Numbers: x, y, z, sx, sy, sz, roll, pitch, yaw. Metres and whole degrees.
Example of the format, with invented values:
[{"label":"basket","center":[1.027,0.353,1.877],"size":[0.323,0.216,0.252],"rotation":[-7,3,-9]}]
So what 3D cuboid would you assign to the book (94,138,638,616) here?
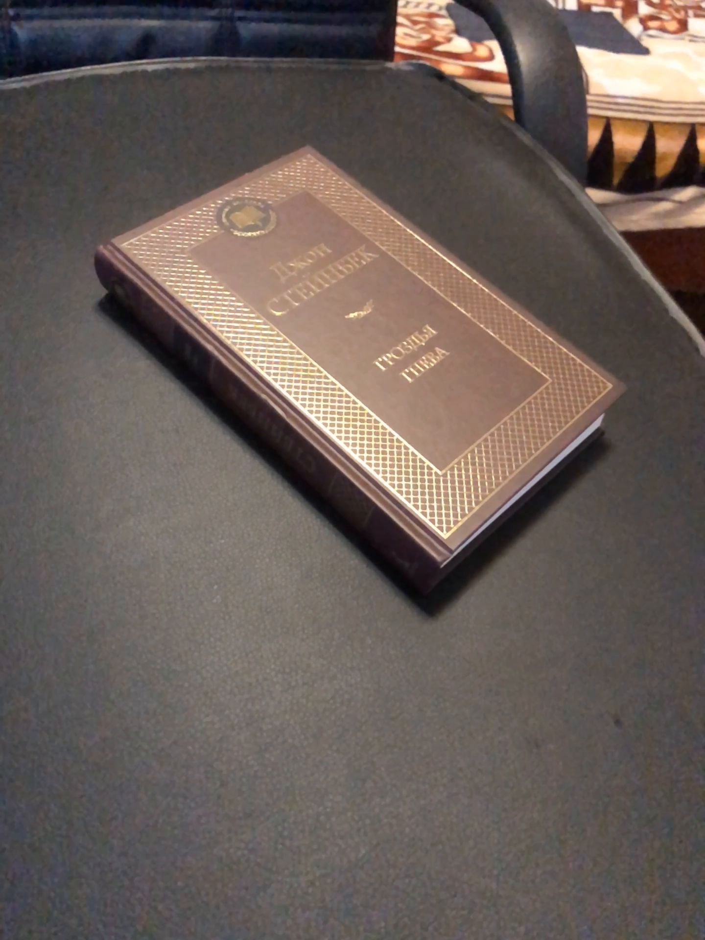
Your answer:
[{"label":"book","center":[0.004,-0.054,0.345],"size":[0.199,0.040,0.131],"rotation":[43,60,16]}]
